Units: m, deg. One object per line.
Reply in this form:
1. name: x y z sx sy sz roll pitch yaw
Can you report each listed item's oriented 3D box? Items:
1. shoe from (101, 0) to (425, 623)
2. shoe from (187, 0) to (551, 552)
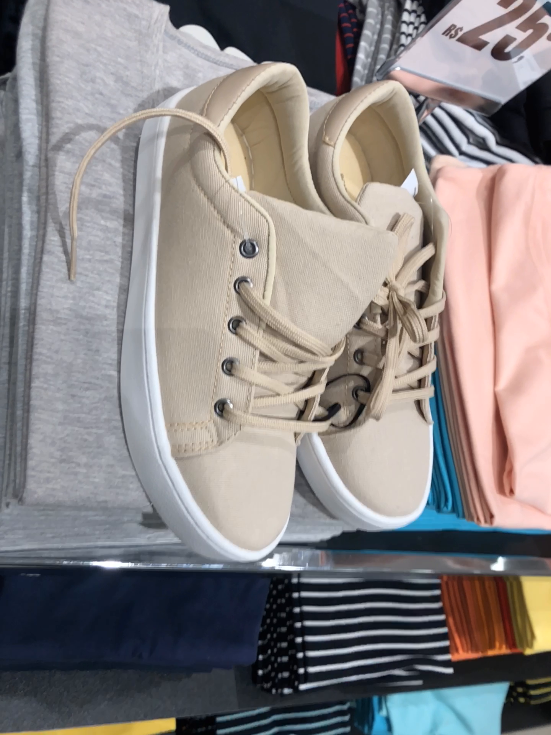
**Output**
1. shoe: -0.014 -0.038 0.309 0.100 0.109 0.280 5 77 -42
2. shoe: 0.042 -0.055 0.364 0.111 0.109 0.290 0 69 -33
